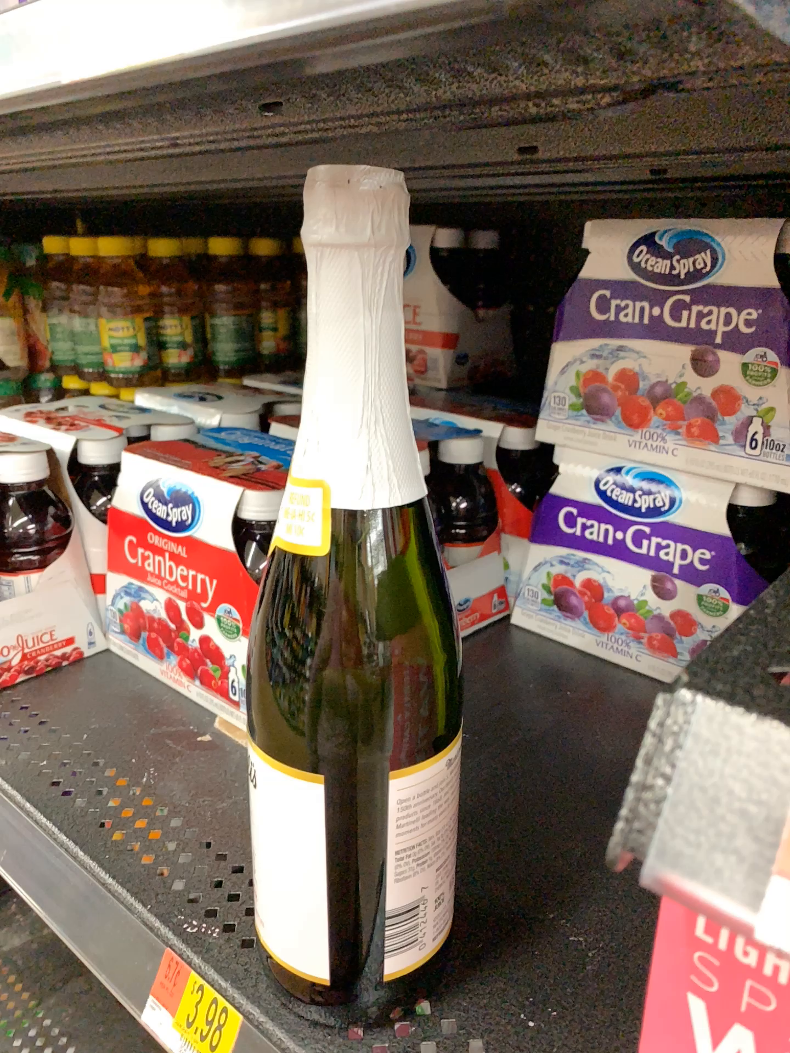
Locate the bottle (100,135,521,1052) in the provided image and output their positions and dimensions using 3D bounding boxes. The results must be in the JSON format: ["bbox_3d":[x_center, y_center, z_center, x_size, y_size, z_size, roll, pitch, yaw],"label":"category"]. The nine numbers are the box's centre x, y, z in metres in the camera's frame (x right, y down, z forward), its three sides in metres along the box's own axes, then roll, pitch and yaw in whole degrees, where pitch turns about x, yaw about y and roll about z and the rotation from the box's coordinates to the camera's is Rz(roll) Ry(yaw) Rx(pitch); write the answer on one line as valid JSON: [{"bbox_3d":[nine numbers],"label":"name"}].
[{"bbox_3d":[-0.017,0.036,0.281,0.090,0.299,0.090,0,20,0],"label":"bottle"}]
